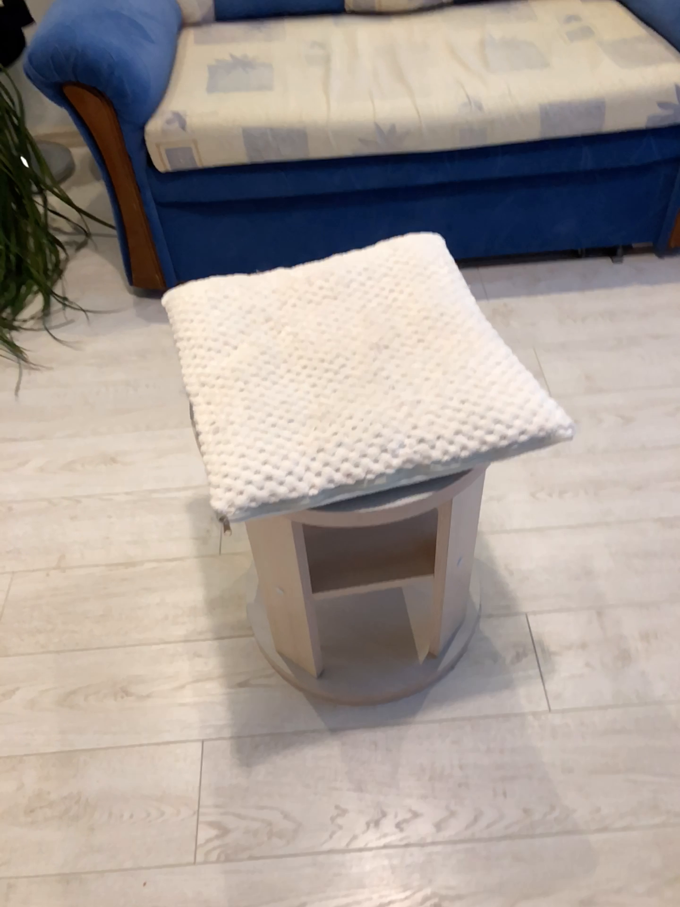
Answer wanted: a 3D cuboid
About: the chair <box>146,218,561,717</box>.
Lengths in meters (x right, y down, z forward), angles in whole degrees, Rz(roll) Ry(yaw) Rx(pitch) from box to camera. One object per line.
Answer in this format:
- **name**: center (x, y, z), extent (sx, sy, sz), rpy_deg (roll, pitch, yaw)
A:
- **chair**: center (0.023, 0.043, 1.017), extent (0.380, 0.546, 0.403), rpy_deg (-3, 48, 2)
